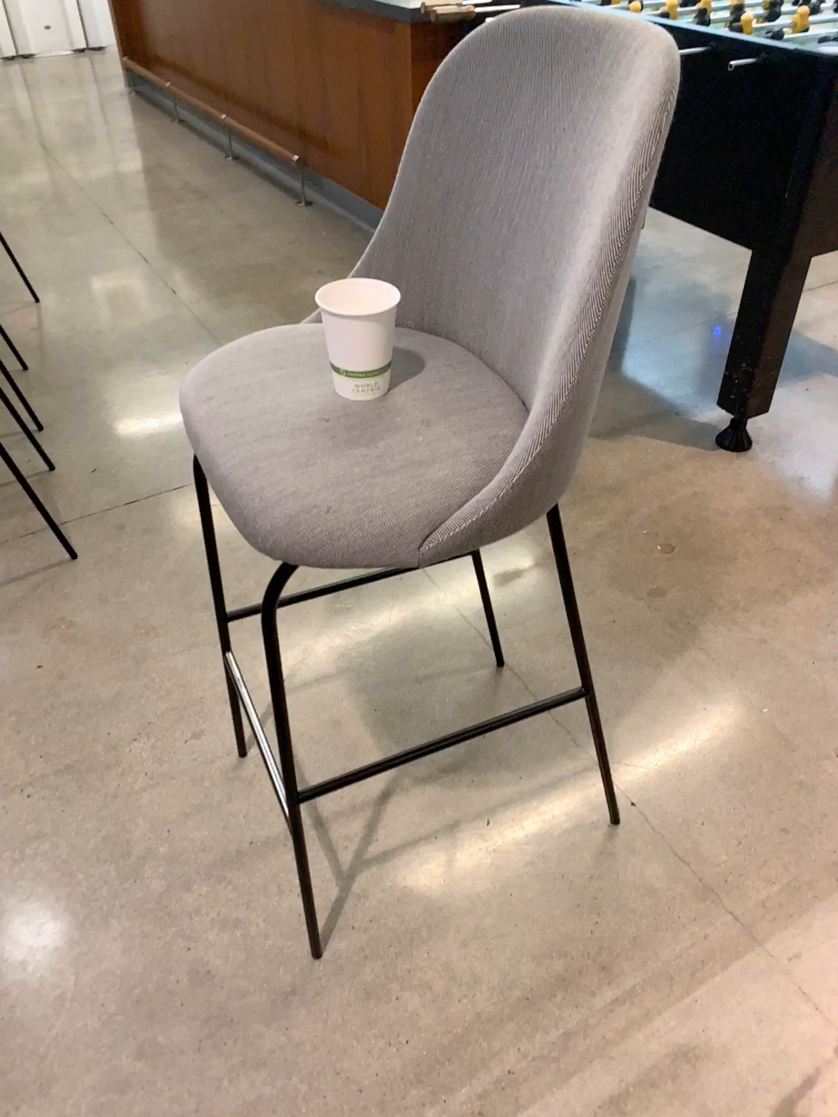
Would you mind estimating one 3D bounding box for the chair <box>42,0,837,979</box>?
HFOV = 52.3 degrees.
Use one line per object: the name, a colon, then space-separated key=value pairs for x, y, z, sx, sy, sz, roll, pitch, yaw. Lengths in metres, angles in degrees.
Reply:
chair: x=-0.002 y=-0.047 z=1.089 sx=0.570 sy=1.054 sz=0.473 roll=-17 pitch=42 yaw=-18
